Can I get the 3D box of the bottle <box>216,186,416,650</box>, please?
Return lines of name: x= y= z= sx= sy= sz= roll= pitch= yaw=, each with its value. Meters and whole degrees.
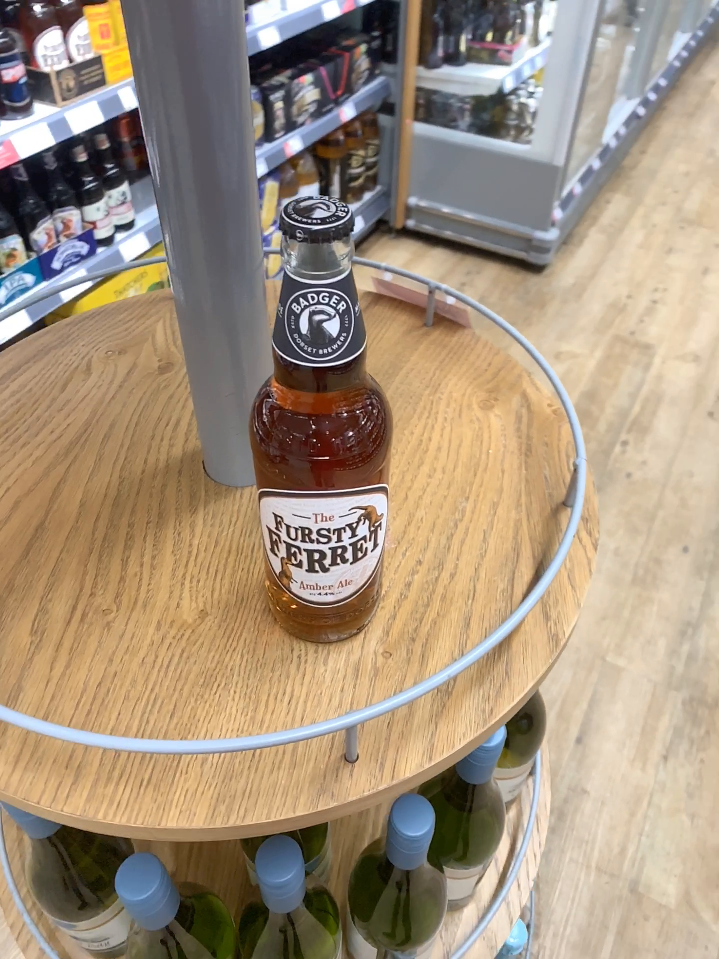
bottle: x=-0.019 y=-0.013 z=0.361 sx=0.069 sy=0.231 sz=0.076 roll=-1 pitch=45 yaw=-3
